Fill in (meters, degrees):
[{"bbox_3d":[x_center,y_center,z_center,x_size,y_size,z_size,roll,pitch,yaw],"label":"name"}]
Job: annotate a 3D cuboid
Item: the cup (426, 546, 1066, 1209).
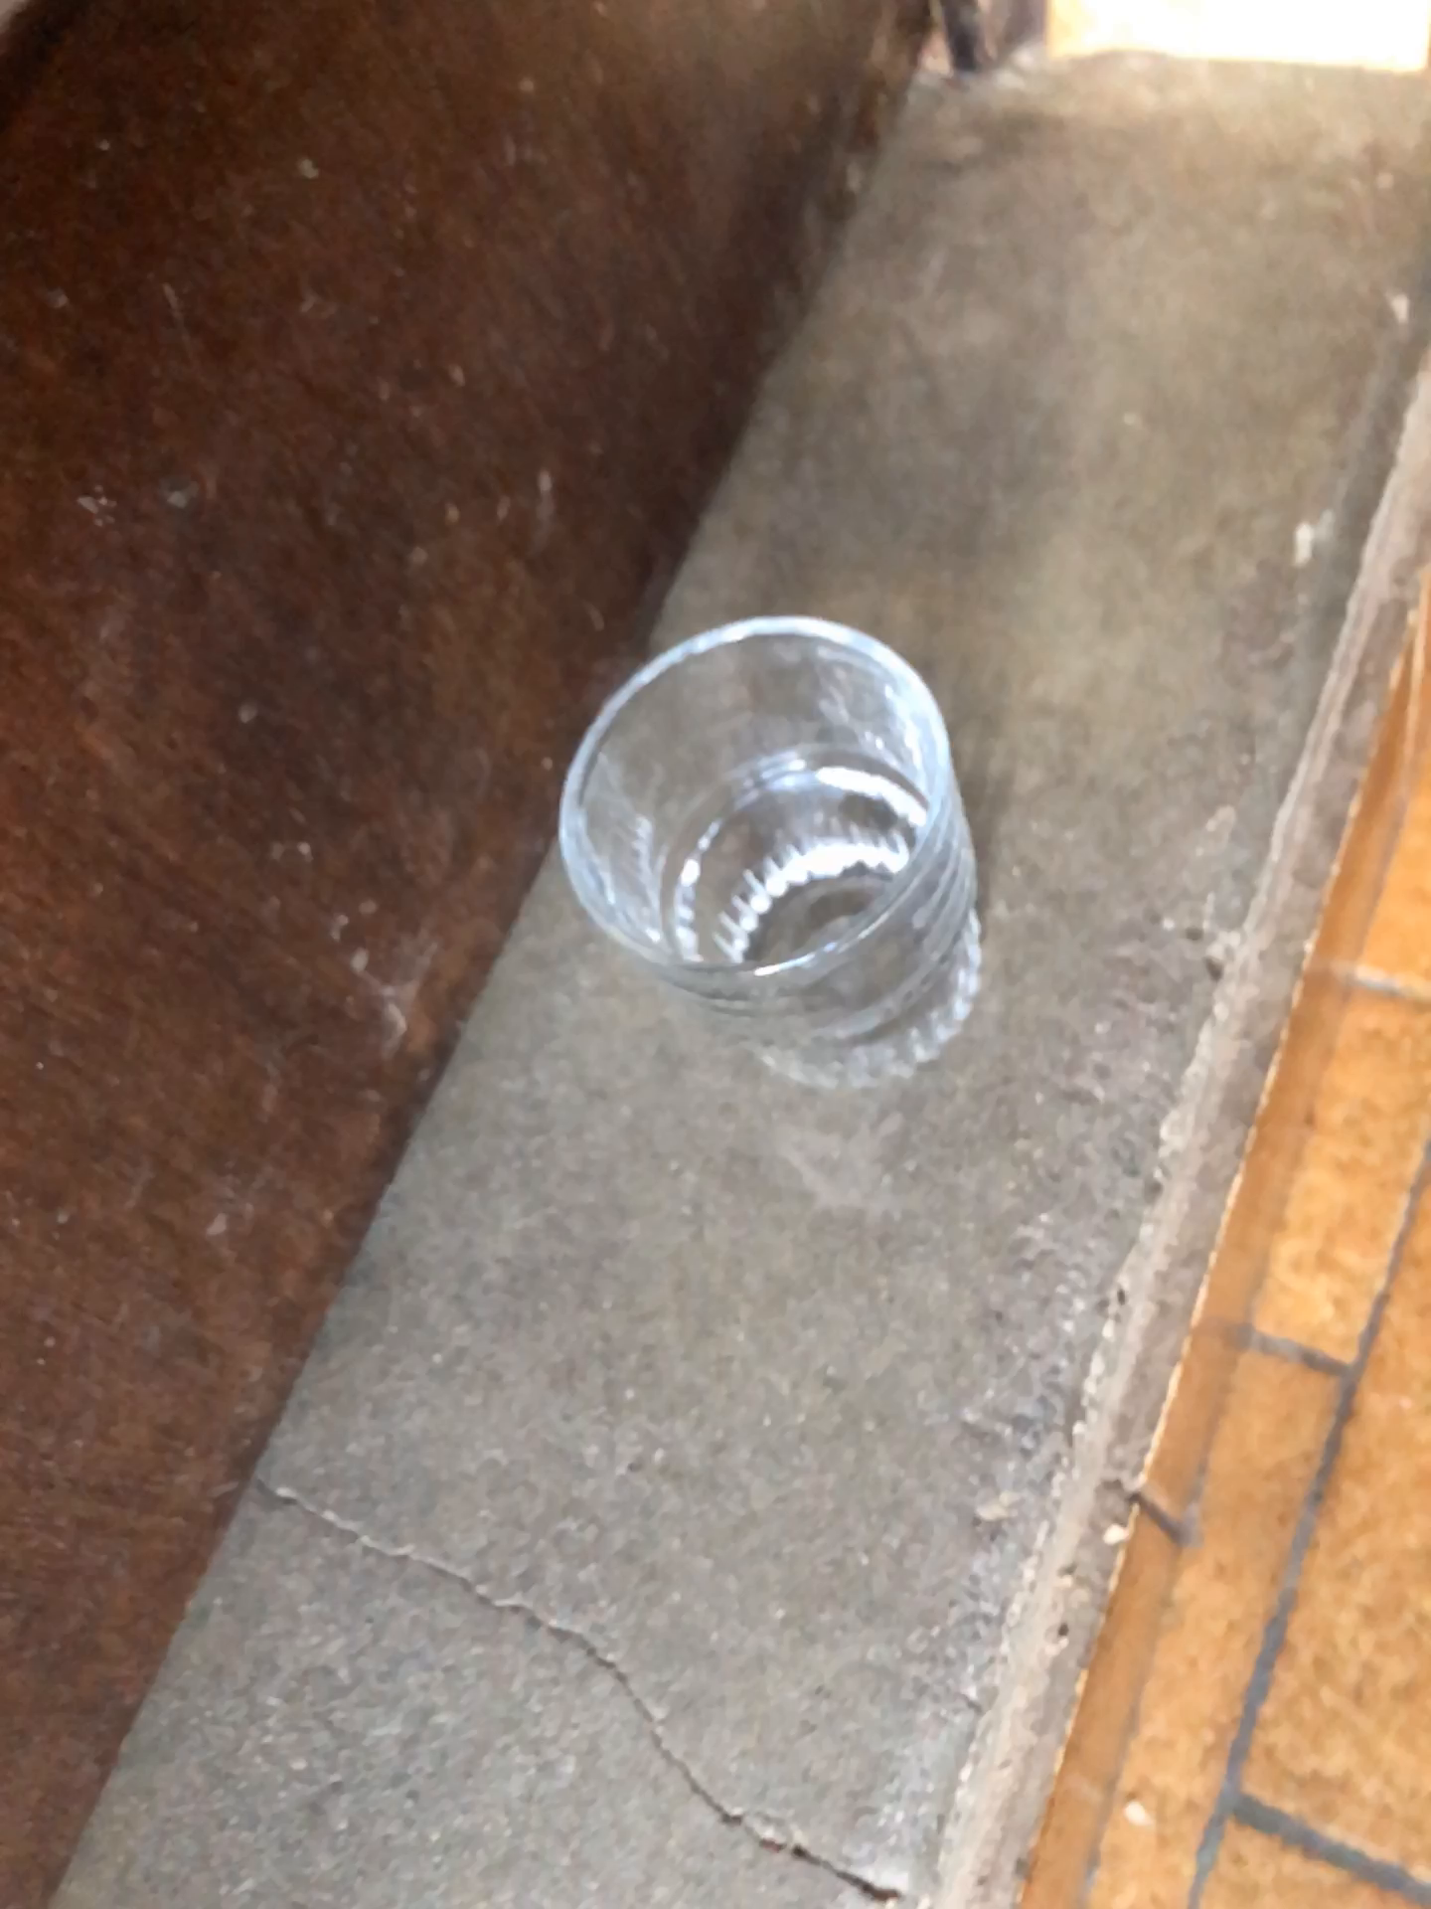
[{"bbox_3d":[0.010,-0.011,0.292,0.070,0.080,0.070,-7,65,15],"label":"cup"}]
